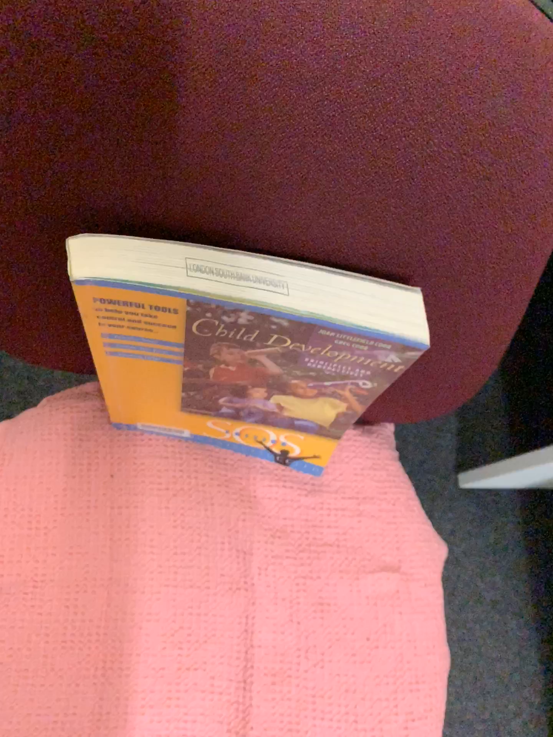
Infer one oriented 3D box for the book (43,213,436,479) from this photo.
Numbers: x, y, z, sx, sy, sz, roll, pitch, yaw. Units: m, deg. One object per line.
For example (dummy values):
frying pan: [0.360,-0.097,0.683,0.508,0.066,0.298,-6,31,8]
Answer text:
book: [-0.036,0.009,0.447,0.225,0.259,0.050,10,62,-6]
